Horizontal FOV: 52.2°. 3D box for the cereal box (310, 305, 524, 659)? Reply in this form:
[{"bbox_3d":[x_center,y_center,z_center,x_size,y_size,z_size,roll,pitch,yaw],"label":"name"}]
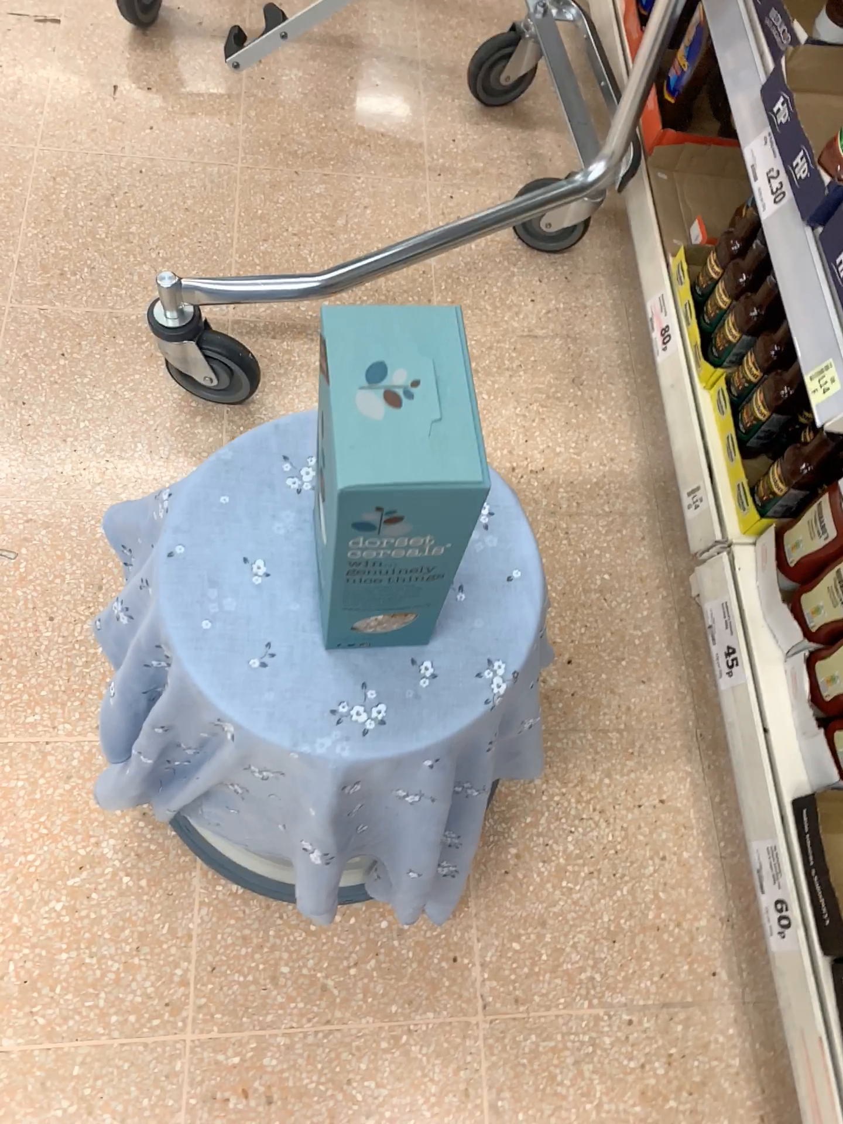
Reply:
[{"bbox_3d":[-0.018,-0.036,0.552,0.090,0.239,0.120,-4,67,-11],"label":"cereal box"}]
